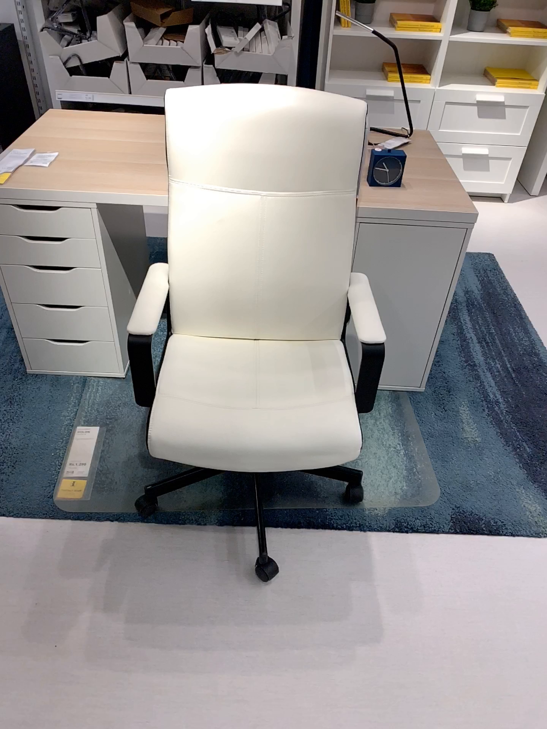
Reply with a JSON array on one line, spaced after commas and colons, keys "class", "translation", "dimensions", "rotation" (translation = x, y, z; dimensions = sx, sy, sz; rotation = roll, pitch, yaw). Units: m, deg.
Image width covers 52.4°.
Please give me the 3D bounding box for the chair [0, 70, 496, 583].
[{"class": "chair", "translation": [-0.064, -0.068, 1.317], "dimensions": [0.690, 0.956, 0.703], "rotation": [2, 40, -1]}]
